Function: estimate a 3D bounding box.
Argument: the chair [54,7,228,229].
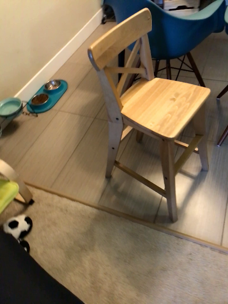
[{"bbox_3d":[0.171,-0.129,1.042,0.491,0.686,0.442,27,58,28],"label":"chair"}]
